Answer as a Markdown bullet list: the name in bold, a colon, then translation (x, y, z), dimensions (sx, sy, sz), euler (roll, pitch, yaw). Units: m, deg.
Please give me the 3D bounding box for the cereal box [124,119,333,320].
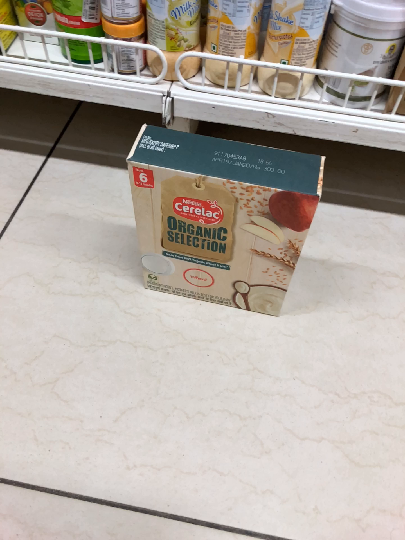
- **cereal box**: translation (0.019, -0.036, 0.432), dimensions (0.160, 0.189, 0.050), euler (11, 54, 6)
